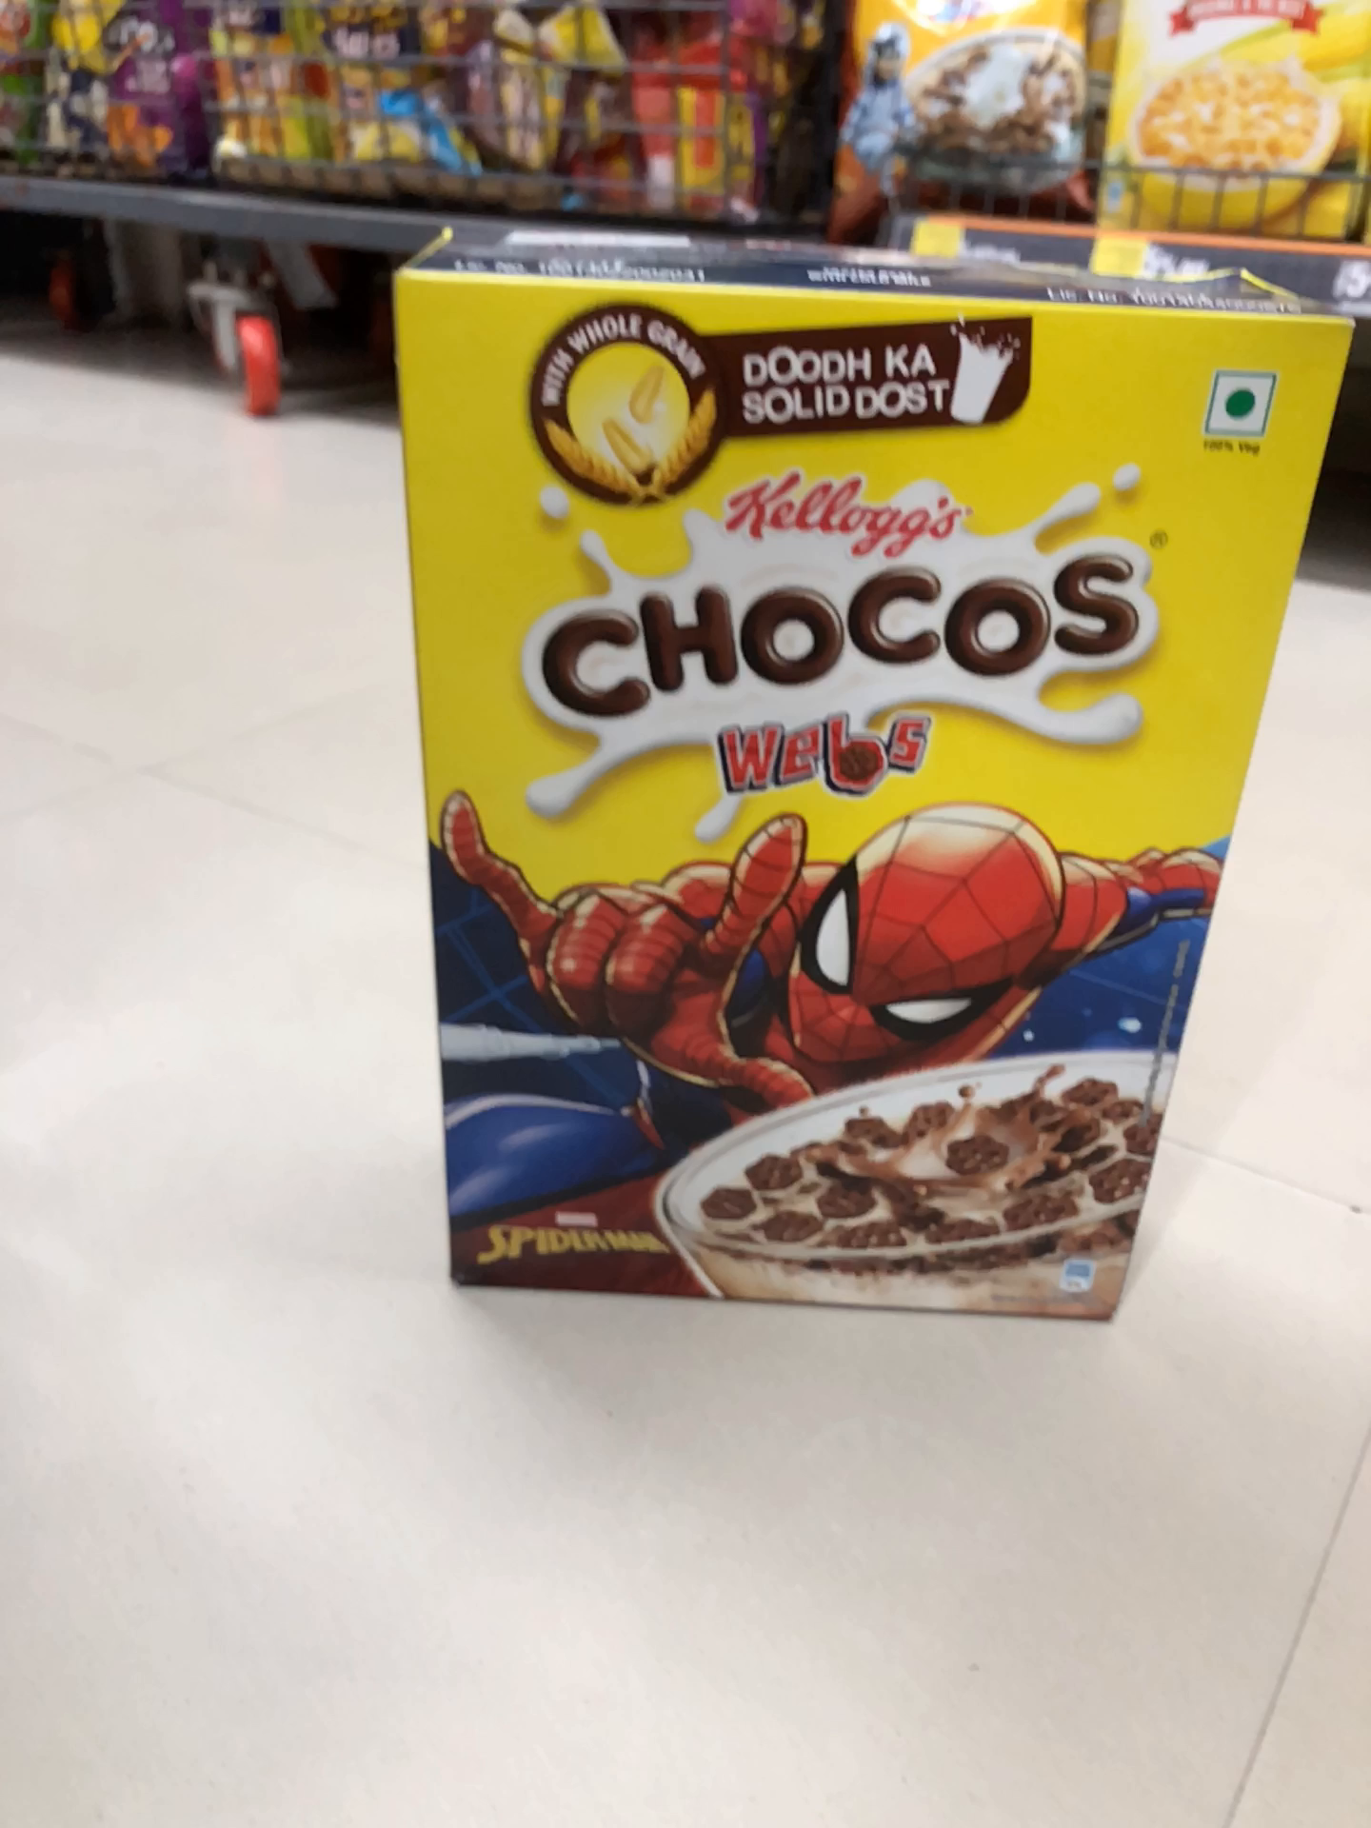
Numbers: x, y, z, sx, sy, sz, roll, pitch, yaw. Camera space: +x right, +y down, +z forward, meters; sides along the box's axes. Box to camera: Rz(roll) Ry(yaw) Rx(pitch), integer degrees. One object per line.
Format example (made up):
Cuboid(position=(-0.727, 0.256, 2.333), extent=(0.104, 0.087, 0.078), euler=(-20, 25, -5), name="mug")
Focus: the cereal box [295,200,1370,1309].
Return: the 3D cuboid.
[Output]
Cuboid(position=(0.027, -0.029, 0.348), extent=(0.190, 0.229, 0.080), euler=(3, 29, 1), name="cereal box")
